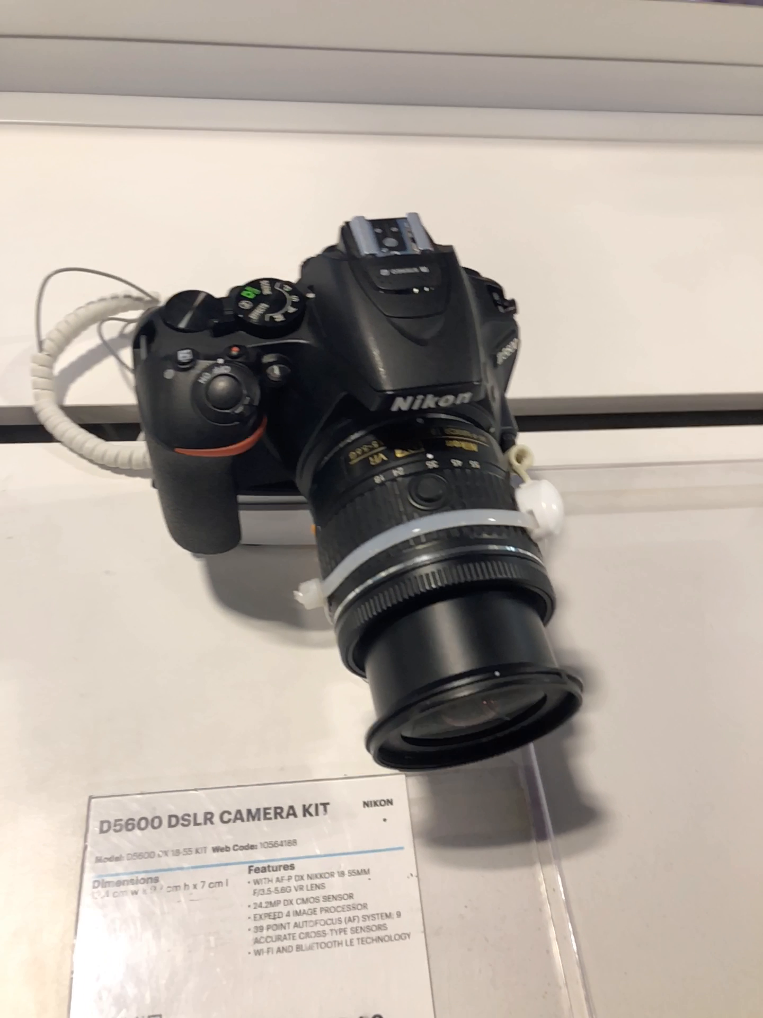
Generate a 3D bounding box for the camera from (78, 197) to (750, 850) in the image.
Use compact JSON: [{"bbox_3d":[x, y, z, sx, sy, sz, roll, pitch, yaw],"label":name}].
[{"bbox_3d":[-0.006,-0.002,0.237,0.130,0.090,0.141,-8,55,-11],"label":"camera"}]
